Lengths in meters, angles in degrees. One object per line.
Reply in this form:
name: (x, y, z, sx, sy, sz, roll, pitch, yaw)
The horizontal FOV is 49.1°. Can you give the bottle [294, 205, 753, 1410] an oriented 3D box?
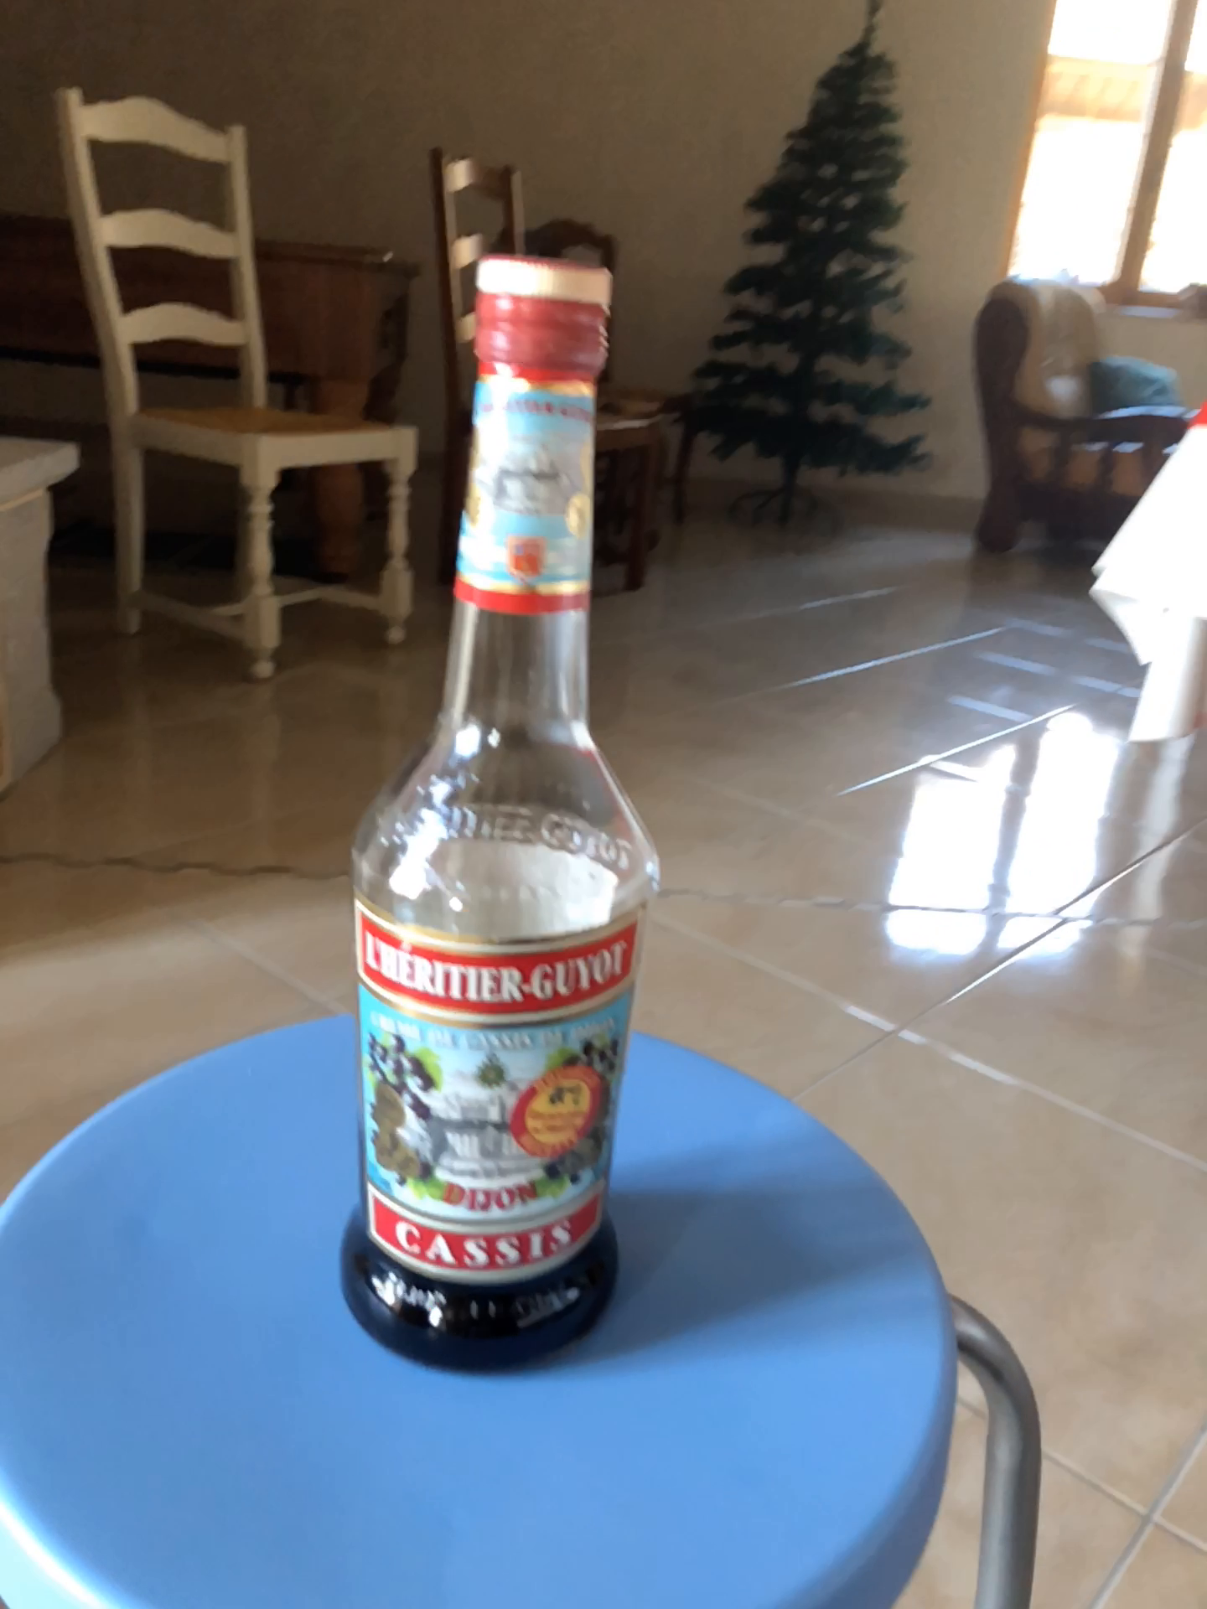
bottle: (-0.025, 0.007, 0.360, 0.090, 0.299, 0.090, 5, 20, -2)
